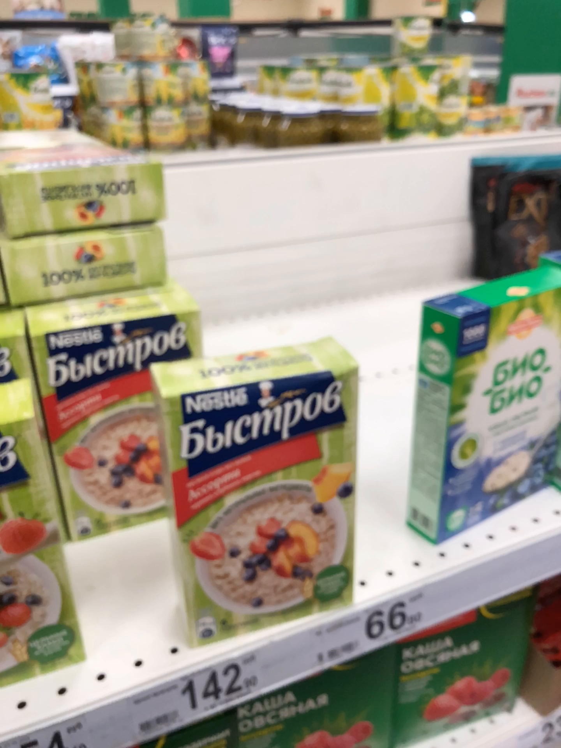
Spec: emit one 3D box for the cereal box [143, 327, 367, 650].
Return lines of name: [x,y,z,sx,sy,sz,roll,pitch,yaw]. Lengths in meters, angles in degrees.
cereal box: [-0.014,0.078,0.433,0.130,0.199,0.050,-9,25,-16]
